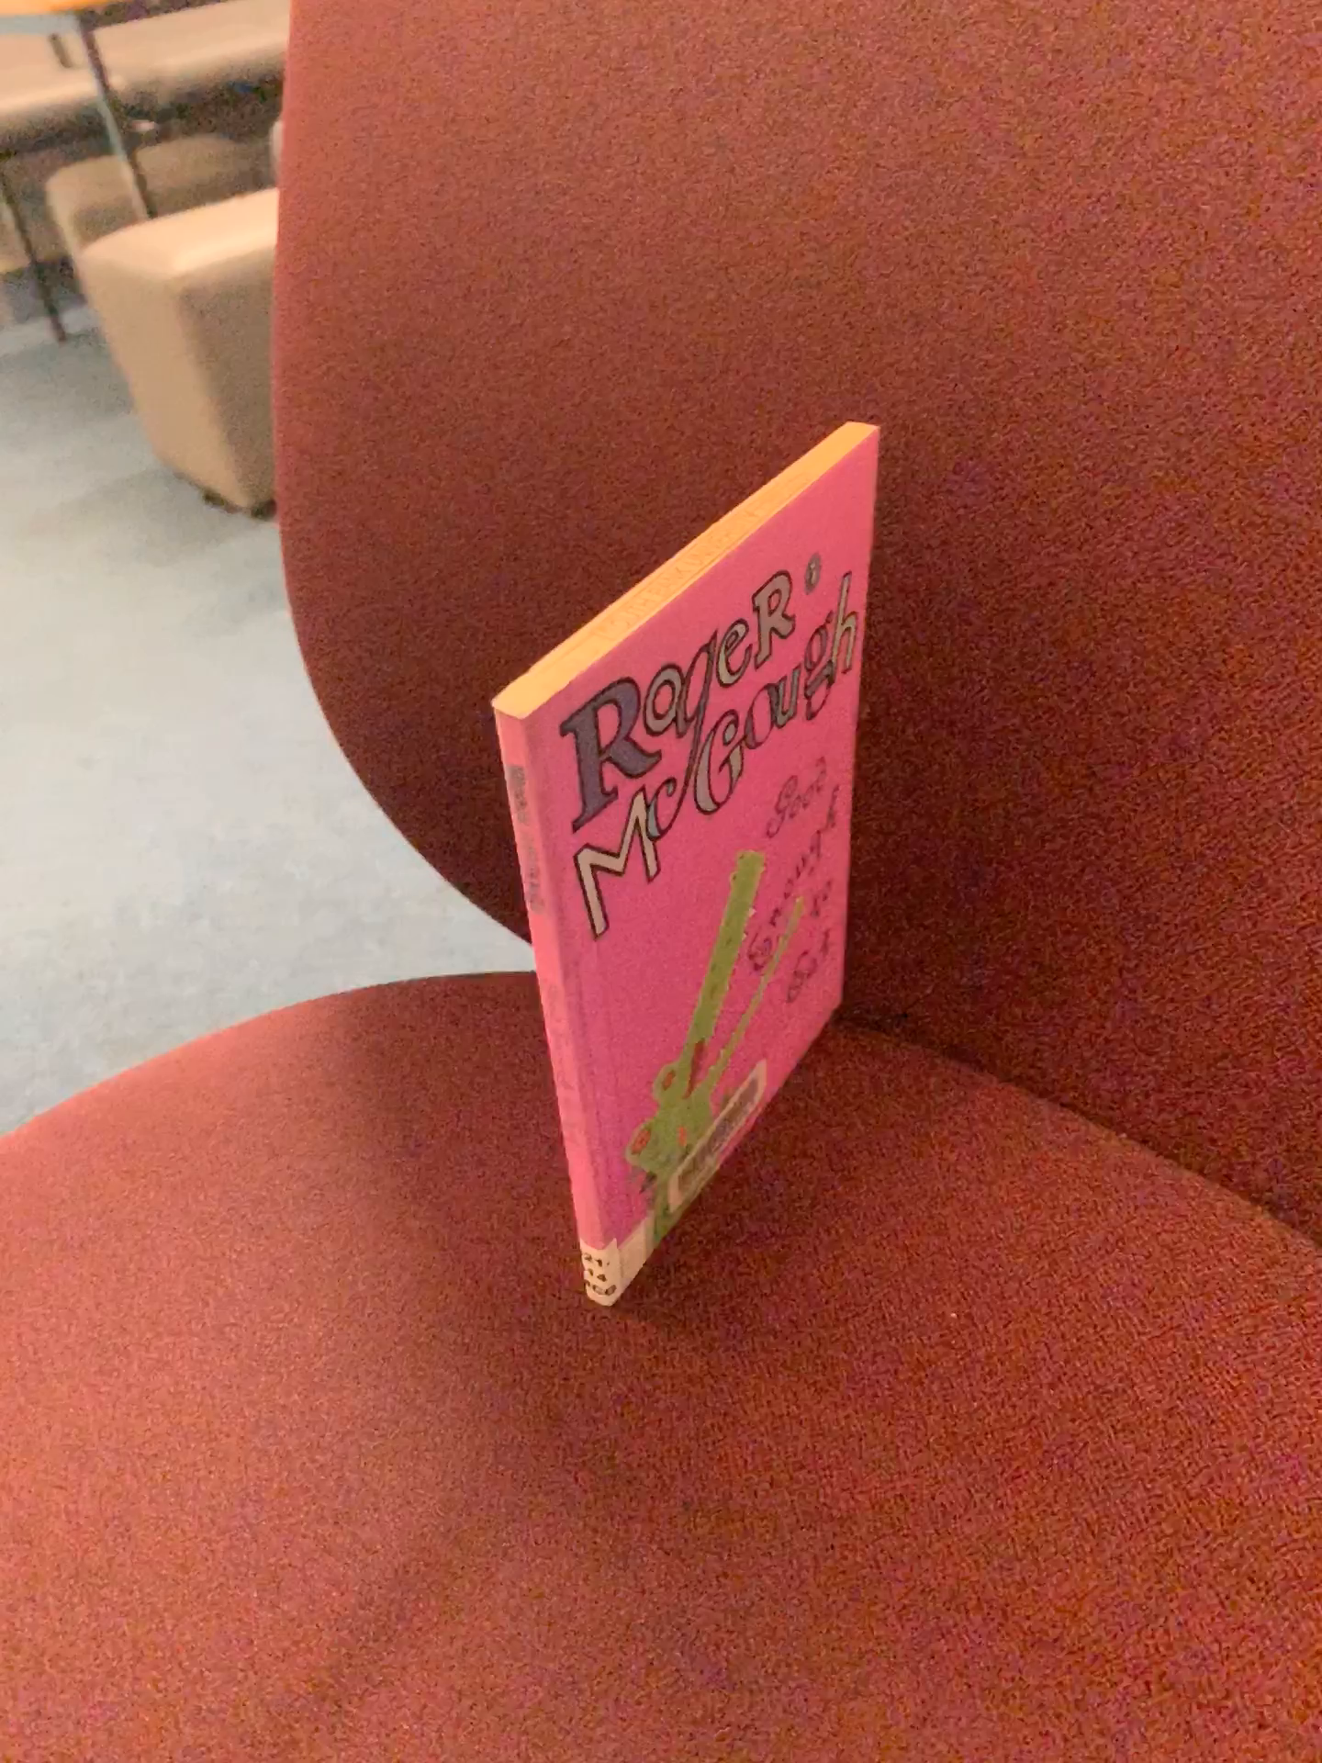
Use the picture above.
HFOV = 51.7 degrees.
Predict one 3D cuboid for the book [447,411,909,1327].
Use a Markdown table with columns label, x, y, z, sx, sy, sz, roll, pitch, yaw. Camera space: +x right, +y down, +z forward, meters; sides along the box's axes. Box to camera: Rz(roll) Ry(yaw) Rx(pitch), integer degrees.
| label | x | y | z | sx | sy | sz | roll | pitch | yaw |
| --- | --- | --- | --- | --- | --- | --- | --- | --- | --- |
| book | 0.014 | 0.002 | 0.339 | 0.017 | 0.189 | 0.141 | 23 | 47 | 27 |
